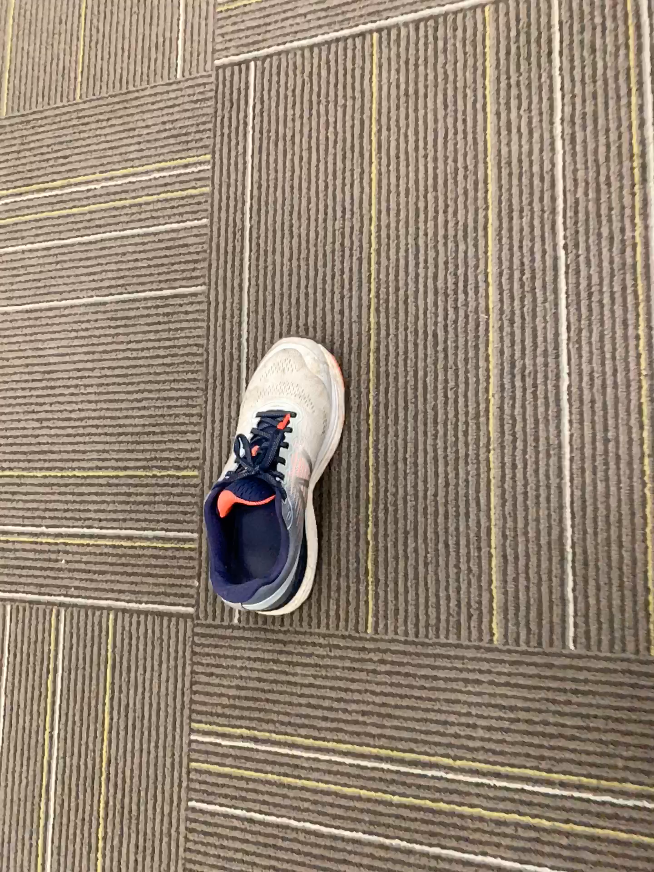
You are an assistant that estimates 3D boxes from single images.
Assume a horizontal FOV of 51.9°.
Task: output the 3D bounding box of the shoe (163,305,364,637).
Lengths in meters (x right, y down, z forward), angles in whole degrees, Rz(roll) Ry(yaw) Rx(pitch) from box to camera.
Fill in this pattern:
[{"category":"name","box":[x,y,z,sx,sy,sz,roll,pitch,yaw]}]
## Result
[{"category":"shoe","box":[-0.058,0.028,0.654,0.130,0.080,0.290,7,86,20]}]
